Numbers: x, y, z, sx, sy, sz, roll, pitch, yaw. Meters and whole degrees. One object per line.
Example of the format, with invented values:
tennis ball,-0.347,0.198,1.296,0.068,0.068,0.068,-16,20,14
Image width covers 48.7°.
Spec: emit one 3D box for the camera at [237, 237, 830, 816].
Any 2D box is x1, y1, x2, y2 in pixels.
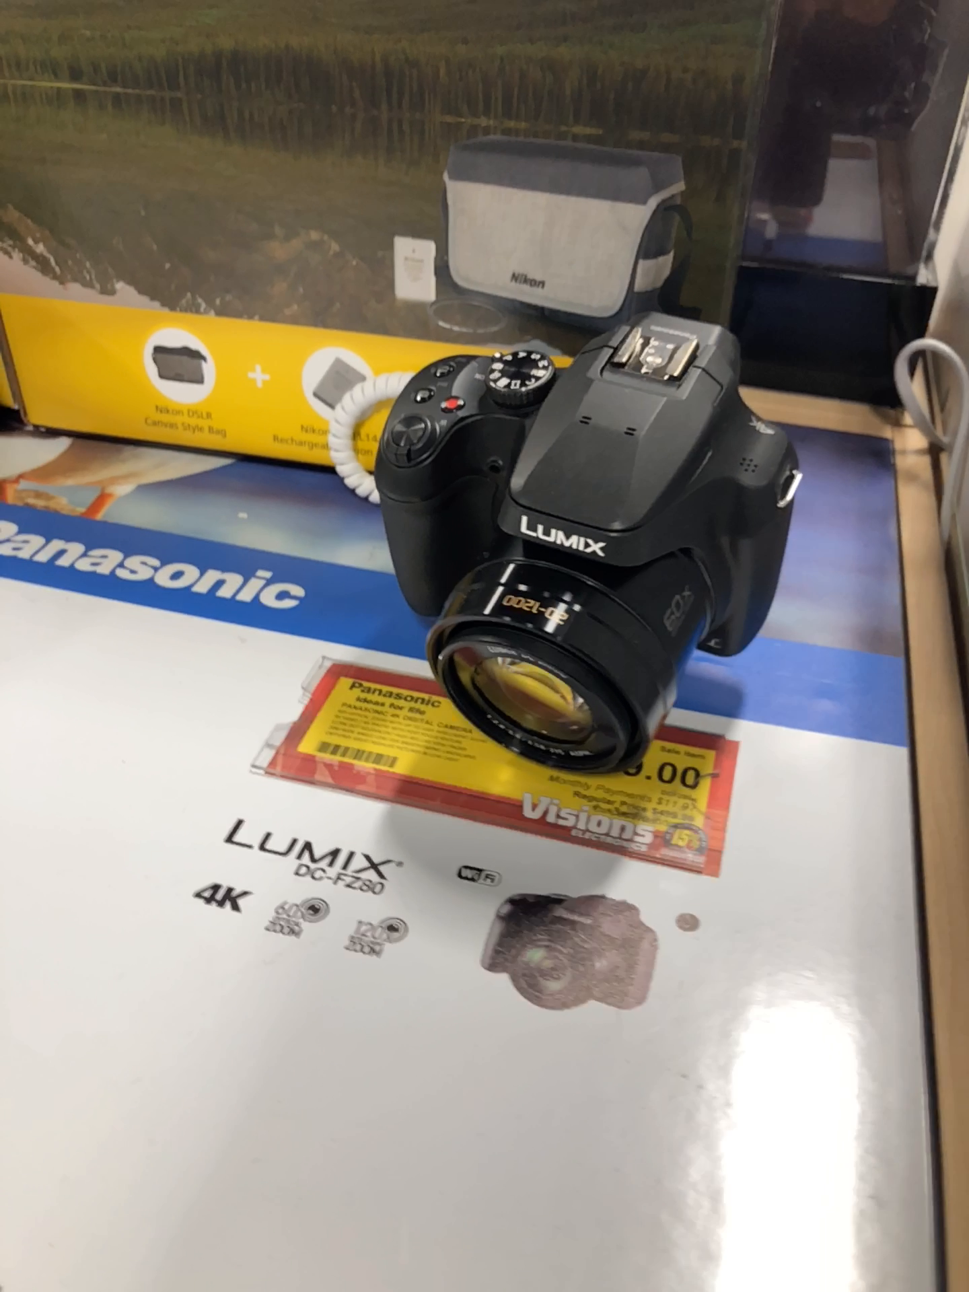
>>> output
camera,0.019,-0.037,0.307,0.120,0.099,0.101,16,52,19
